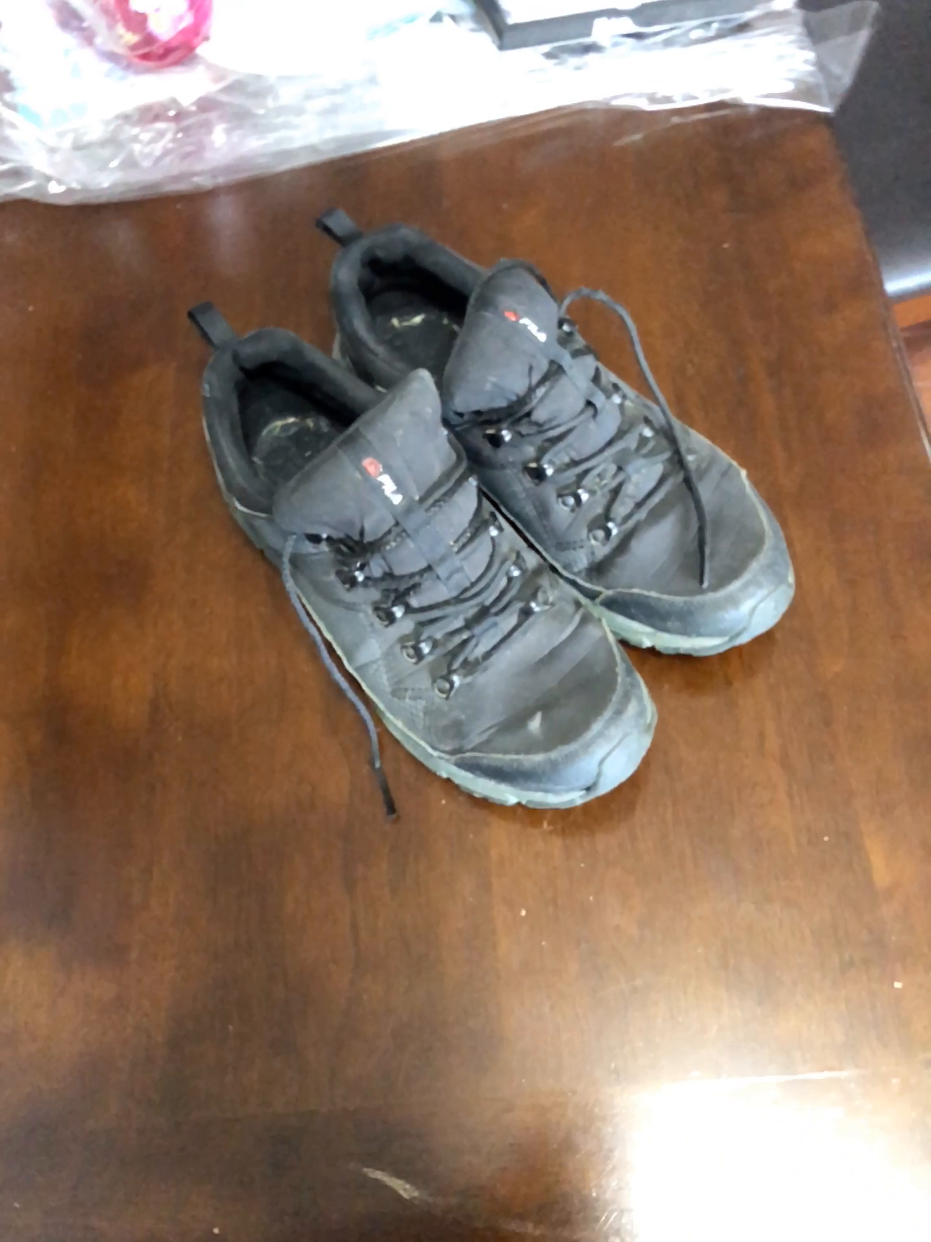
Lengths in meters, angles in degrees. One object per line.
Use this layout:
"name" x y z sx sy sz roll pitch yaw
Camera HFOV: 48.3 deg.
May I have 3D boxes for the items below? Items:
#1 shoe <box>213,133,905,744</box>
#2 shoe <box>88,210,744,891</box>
"shoe" 0.038 -0.099 0.554 0.320 0.150 0.120 37 75 21
"shoe" -0.028 -0.036 0.541 0.120 0.170 0.320 -40 66 -11
